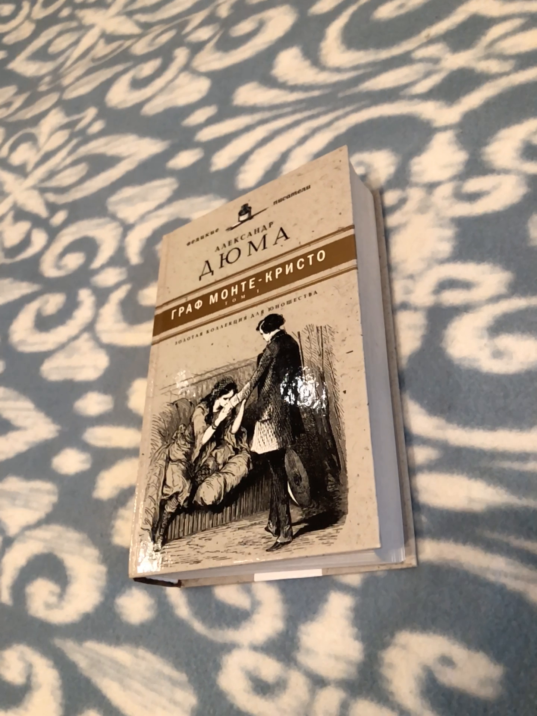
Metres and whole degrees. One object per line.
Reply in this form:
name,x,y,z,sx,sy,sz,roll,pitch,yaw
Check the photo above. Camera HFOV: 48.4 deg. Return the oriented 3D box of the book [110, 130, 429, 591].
book,-0.005,0.000,0.308,0.138,0.040,0.212,-18,56,29
